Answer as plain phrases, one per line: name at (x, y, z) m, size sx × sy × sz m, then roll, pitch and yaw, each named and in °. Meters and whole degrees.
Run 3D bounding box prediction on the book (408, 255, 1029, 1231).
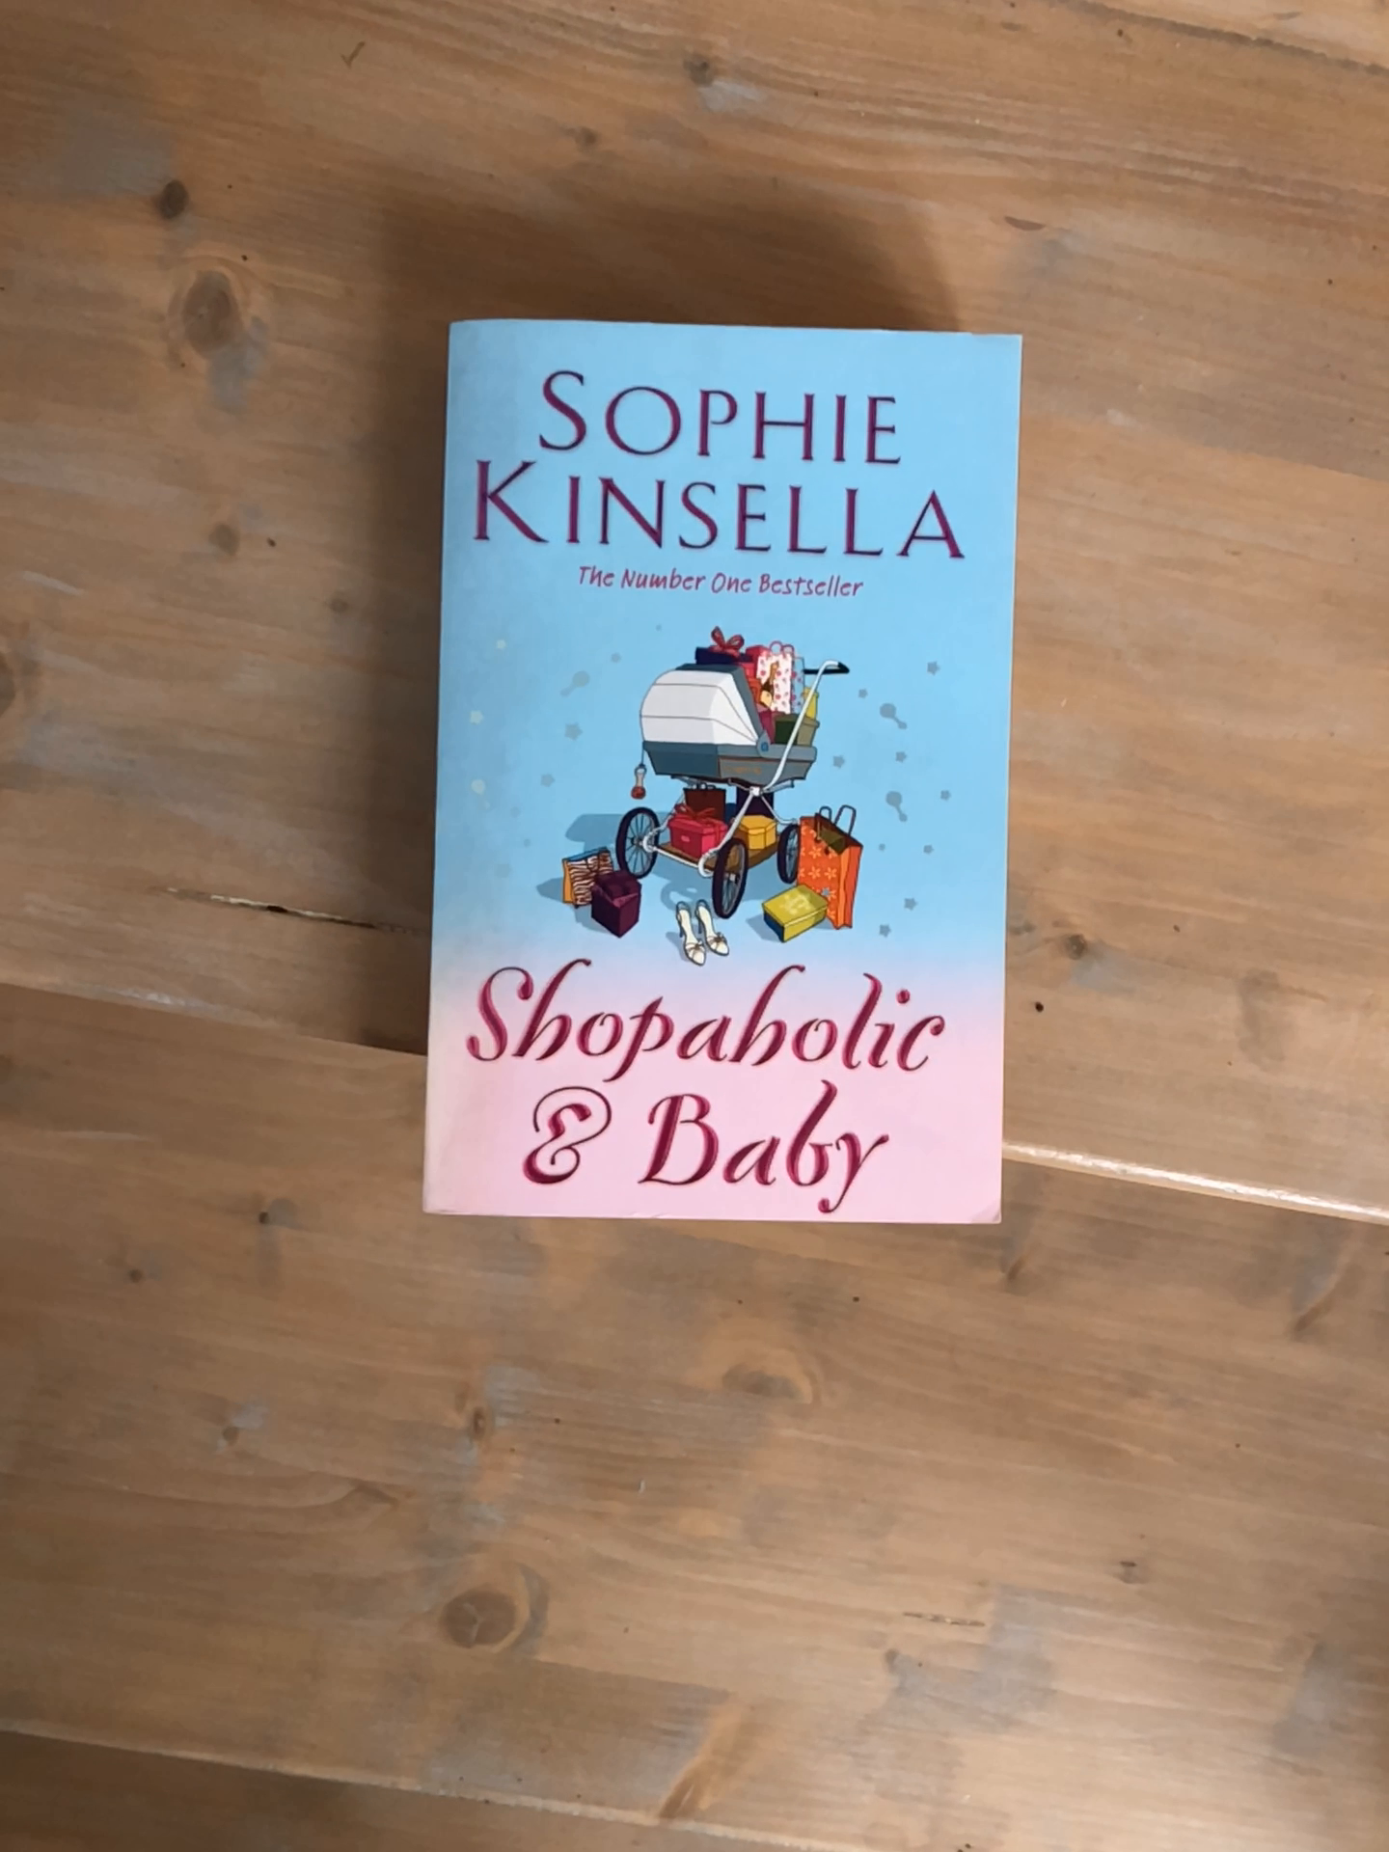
book at (0.006, -0.040, 0.349) m, size 0.131 × 0.031 × 0.211 m, roll 1°, pitch 87°, yaw -2°
